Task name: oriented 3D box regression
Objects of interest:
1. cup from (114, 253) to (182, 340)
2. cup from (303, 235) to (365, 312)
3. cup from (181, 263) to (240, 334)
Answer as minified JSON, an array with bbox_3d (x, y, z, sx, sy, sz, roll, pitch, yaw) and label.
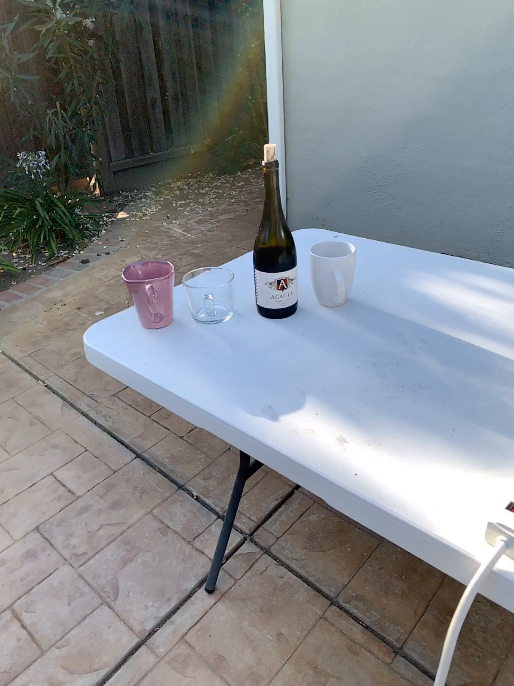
[{"bbox_3d":[-0.200,-0.090,0.988,0.100,0.109,0.131,-5,30,-3],"label":"cup"},{"bbox_3d":[0.144,-0.135,0.999,0.090,0.099,0.121,-5,30,-3],"label":"cup"},{"bbox_3d":[-0.088,-0.087,1.005,0.100,0.079,0.131,-5,30,-3],"label":"cup"}]
